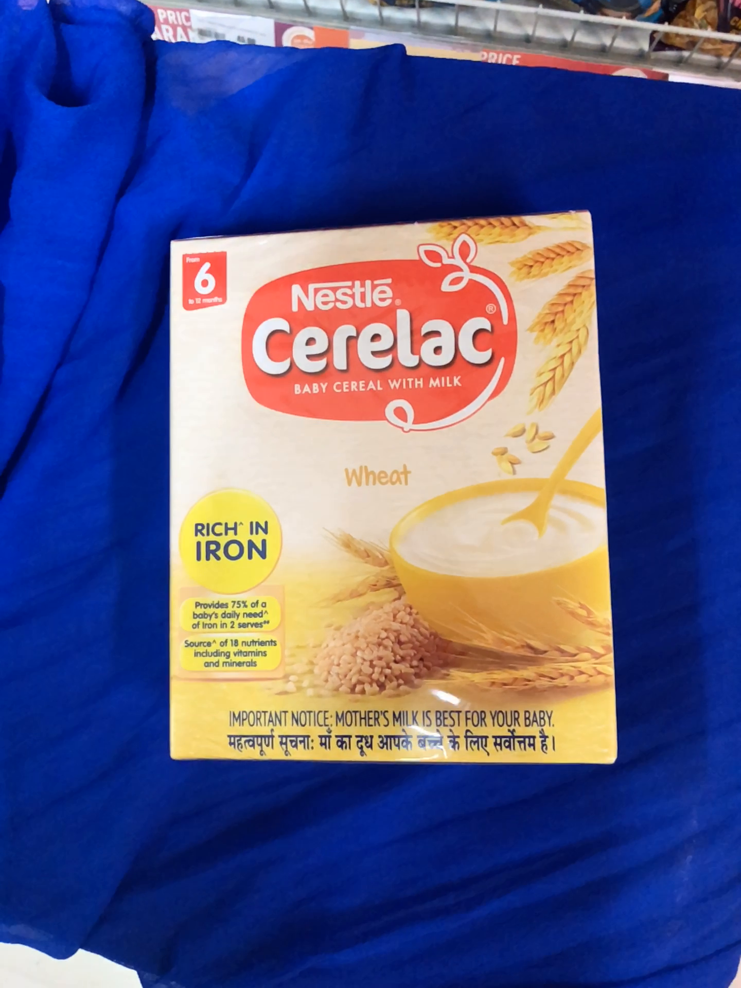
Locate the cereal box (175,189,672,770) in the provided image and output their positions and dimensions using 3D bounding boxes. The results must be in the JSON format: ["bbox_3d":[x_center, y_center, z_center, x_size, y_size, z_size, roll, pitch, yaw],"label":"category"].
[{"bbox_3d":[0.016,-0.004,0.304,0.160,0.060,0.190,-2,85,4],"label":"cereal box"}]
